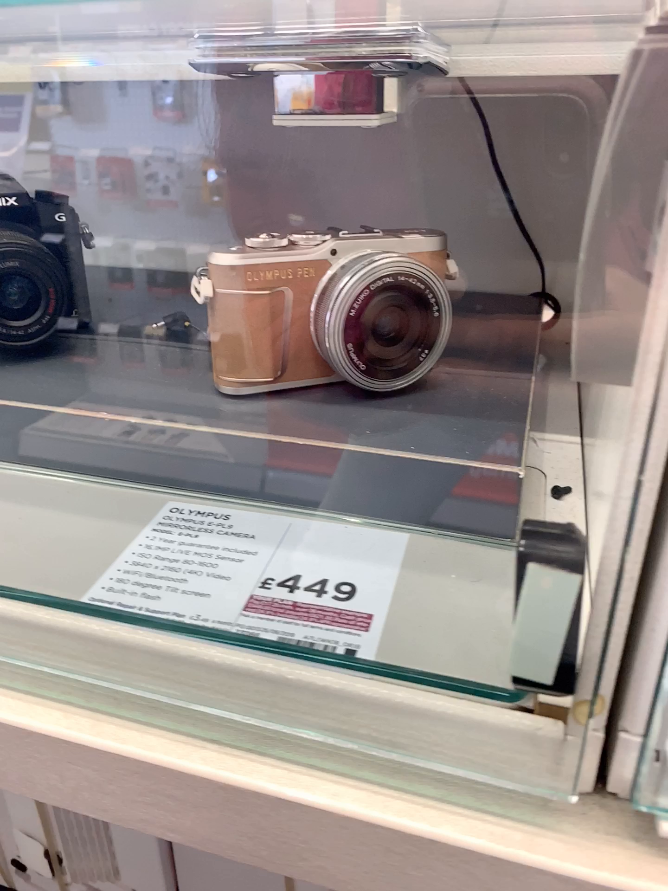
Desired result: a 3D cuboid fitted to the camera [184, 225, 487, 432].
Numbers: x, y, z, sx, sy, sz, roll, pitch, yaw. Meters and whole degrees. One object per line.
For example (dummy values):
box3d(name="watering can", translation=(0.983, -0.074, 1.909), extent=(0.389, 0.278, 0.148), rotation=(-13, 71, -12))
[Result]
box3d(name="camera", translation=(0.000, -0.059, 0.320), extent=(0.120, 0.069, 0.060), rotation=(-10, 27, -20))
